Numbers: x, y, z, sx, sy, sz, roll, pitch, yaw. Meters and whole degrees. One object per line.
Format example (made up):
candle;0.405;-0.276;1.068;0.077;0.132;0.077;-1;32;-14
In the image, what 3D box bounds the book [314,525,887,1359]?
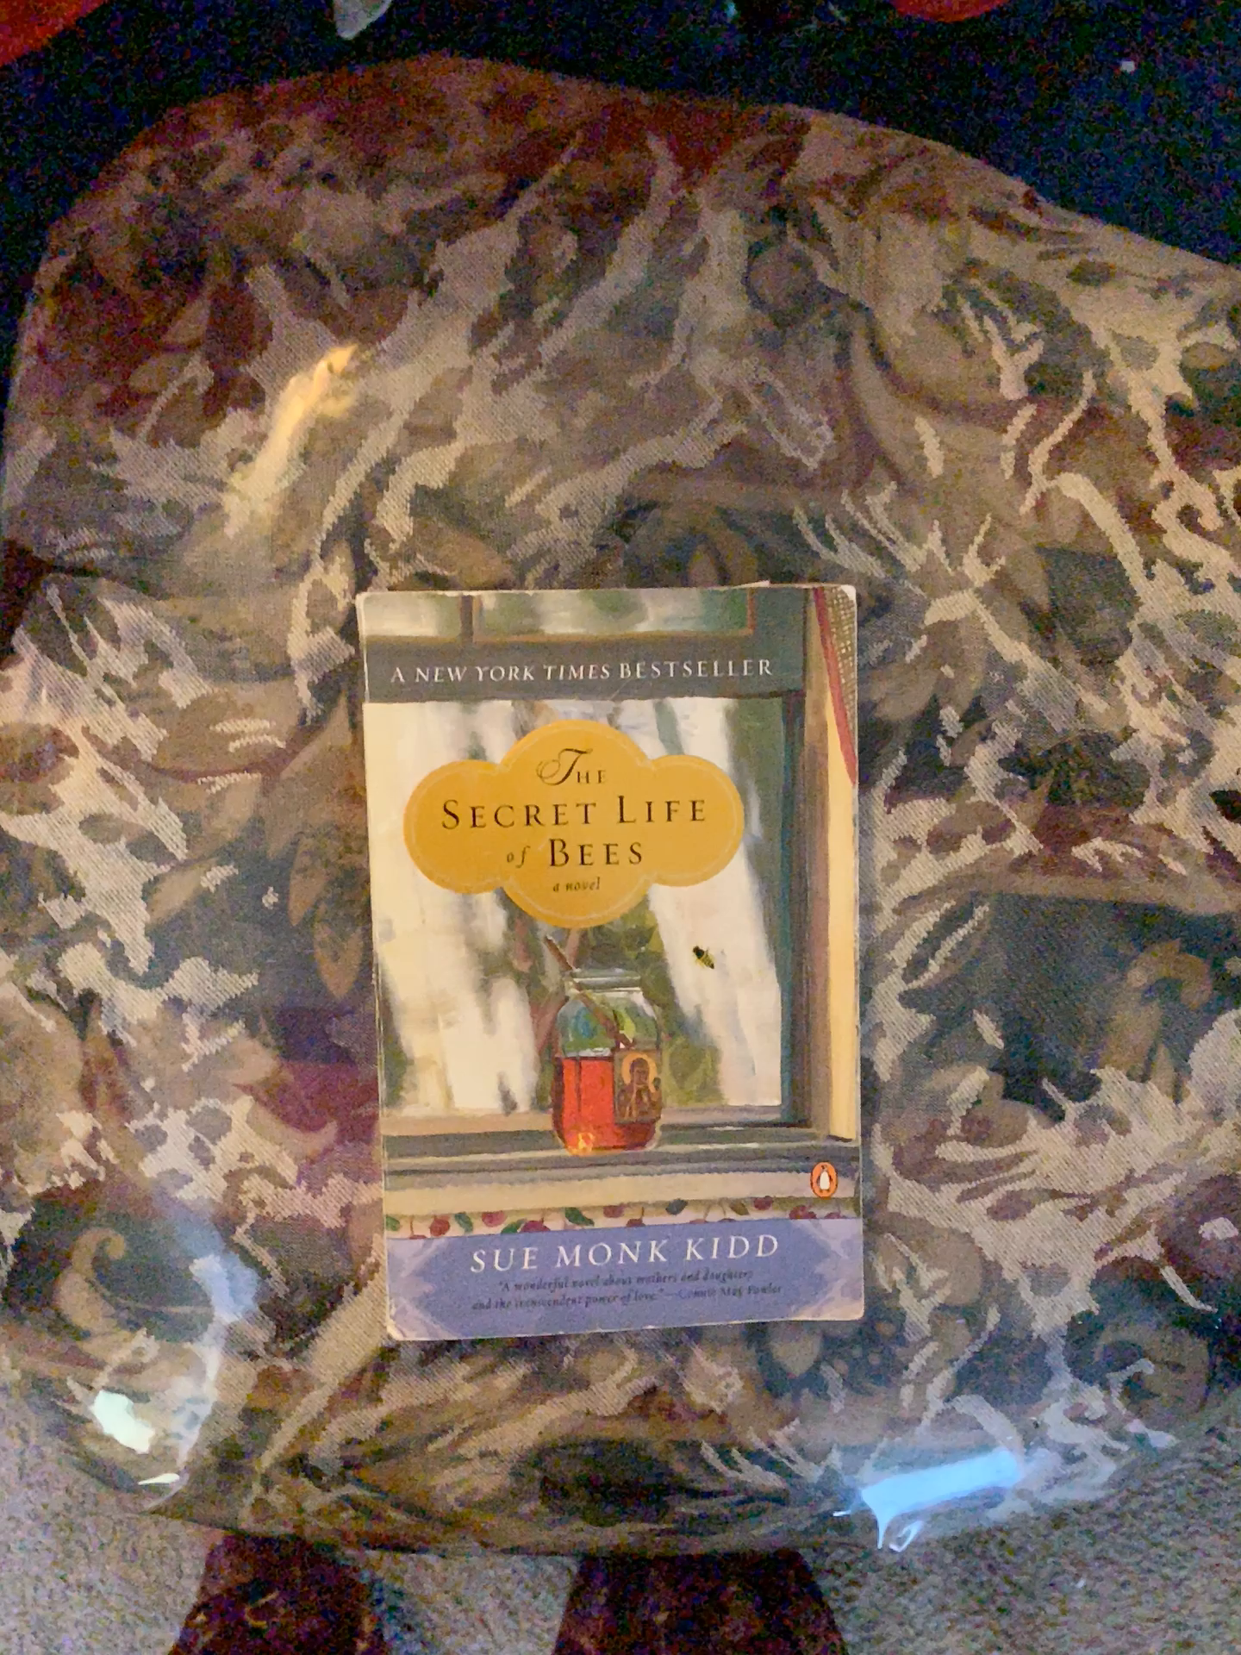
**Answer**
book;-0.004;0.030;0.346;0.140;0.040;0.210;-2;93;0
